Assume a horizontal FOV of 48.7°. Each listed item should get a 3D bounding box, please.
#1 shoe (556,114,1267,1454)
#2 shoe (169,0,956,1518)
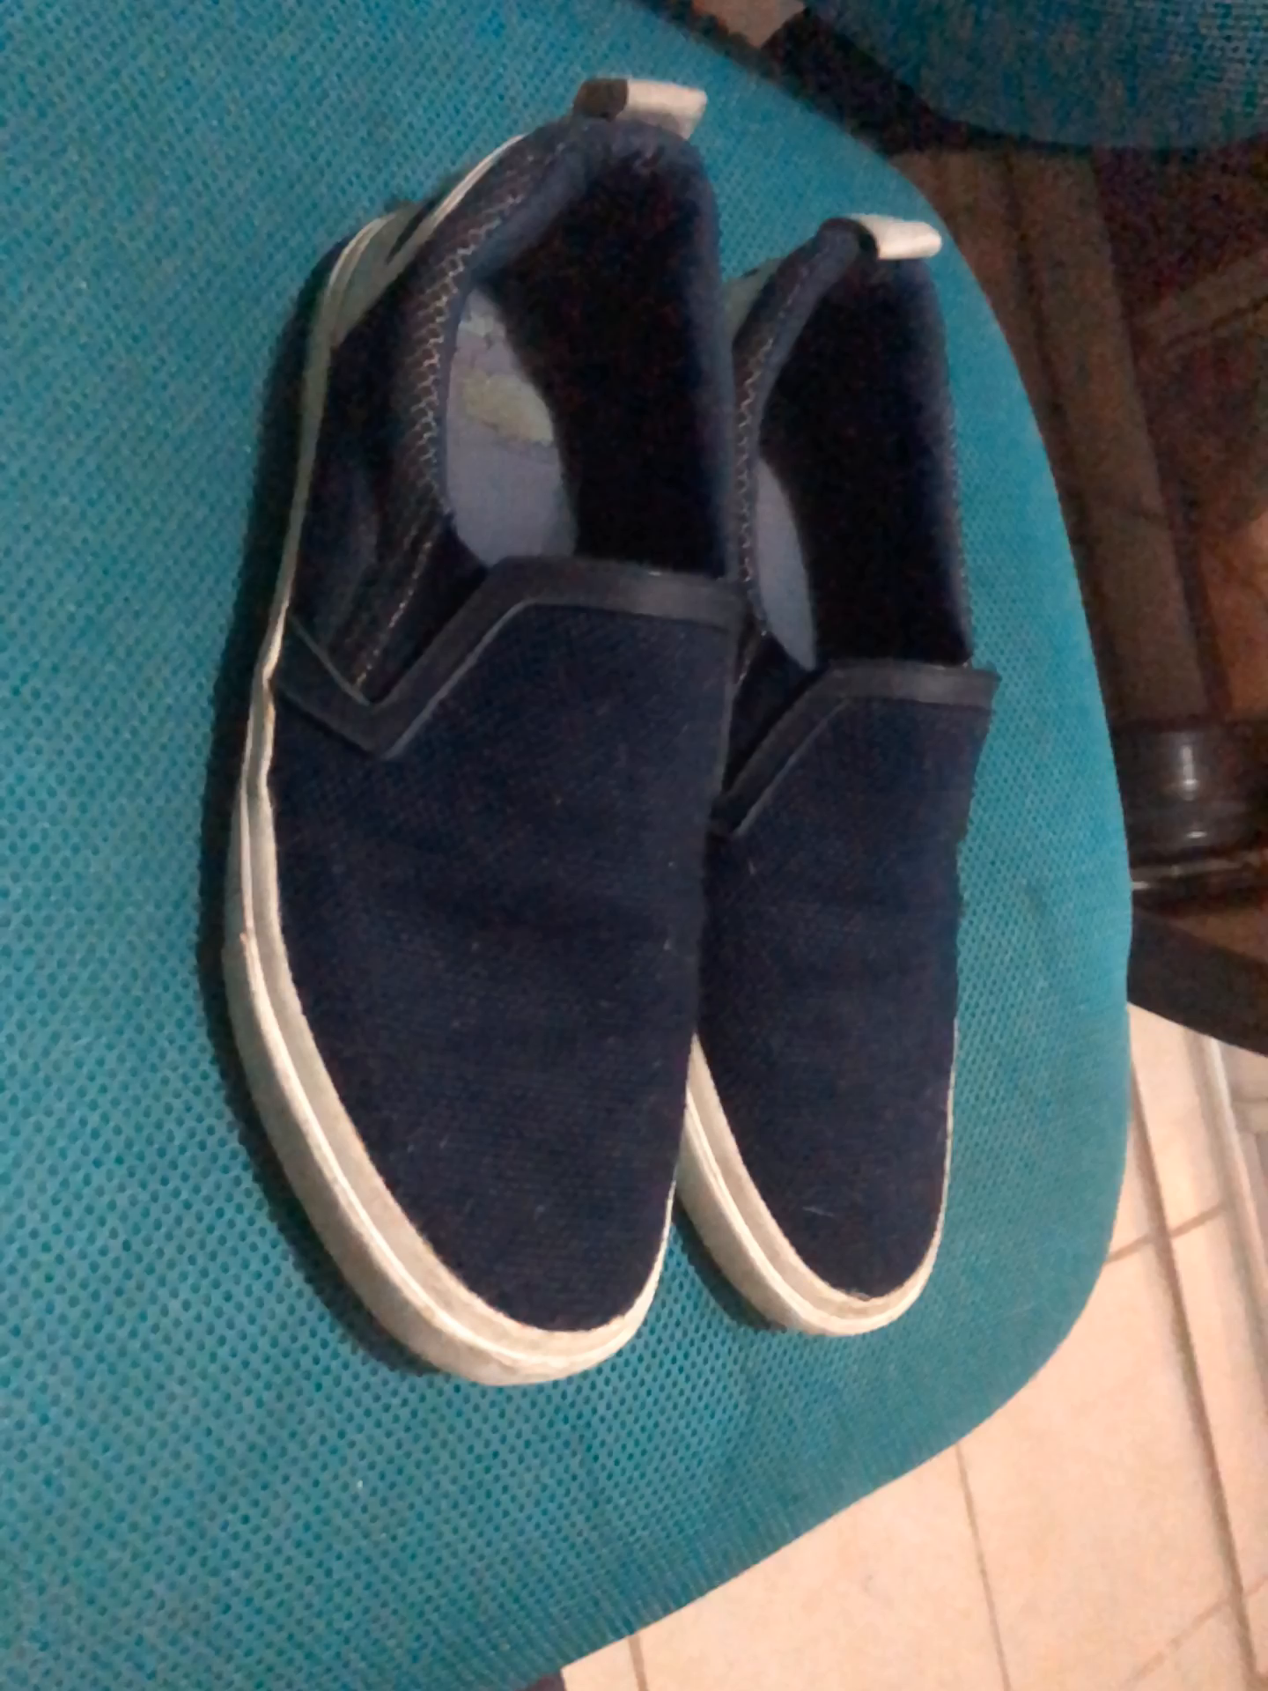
[{"bbox_3d":[0.072,-0.013,0.378,0.121,0.109,0.290,0,81,-39],"label":"shoe"},{"bbox_3d":[-0.023,-0.031,0.312,0.121,0.109,0.290,4,79,-39],"label":"shoe"}]
